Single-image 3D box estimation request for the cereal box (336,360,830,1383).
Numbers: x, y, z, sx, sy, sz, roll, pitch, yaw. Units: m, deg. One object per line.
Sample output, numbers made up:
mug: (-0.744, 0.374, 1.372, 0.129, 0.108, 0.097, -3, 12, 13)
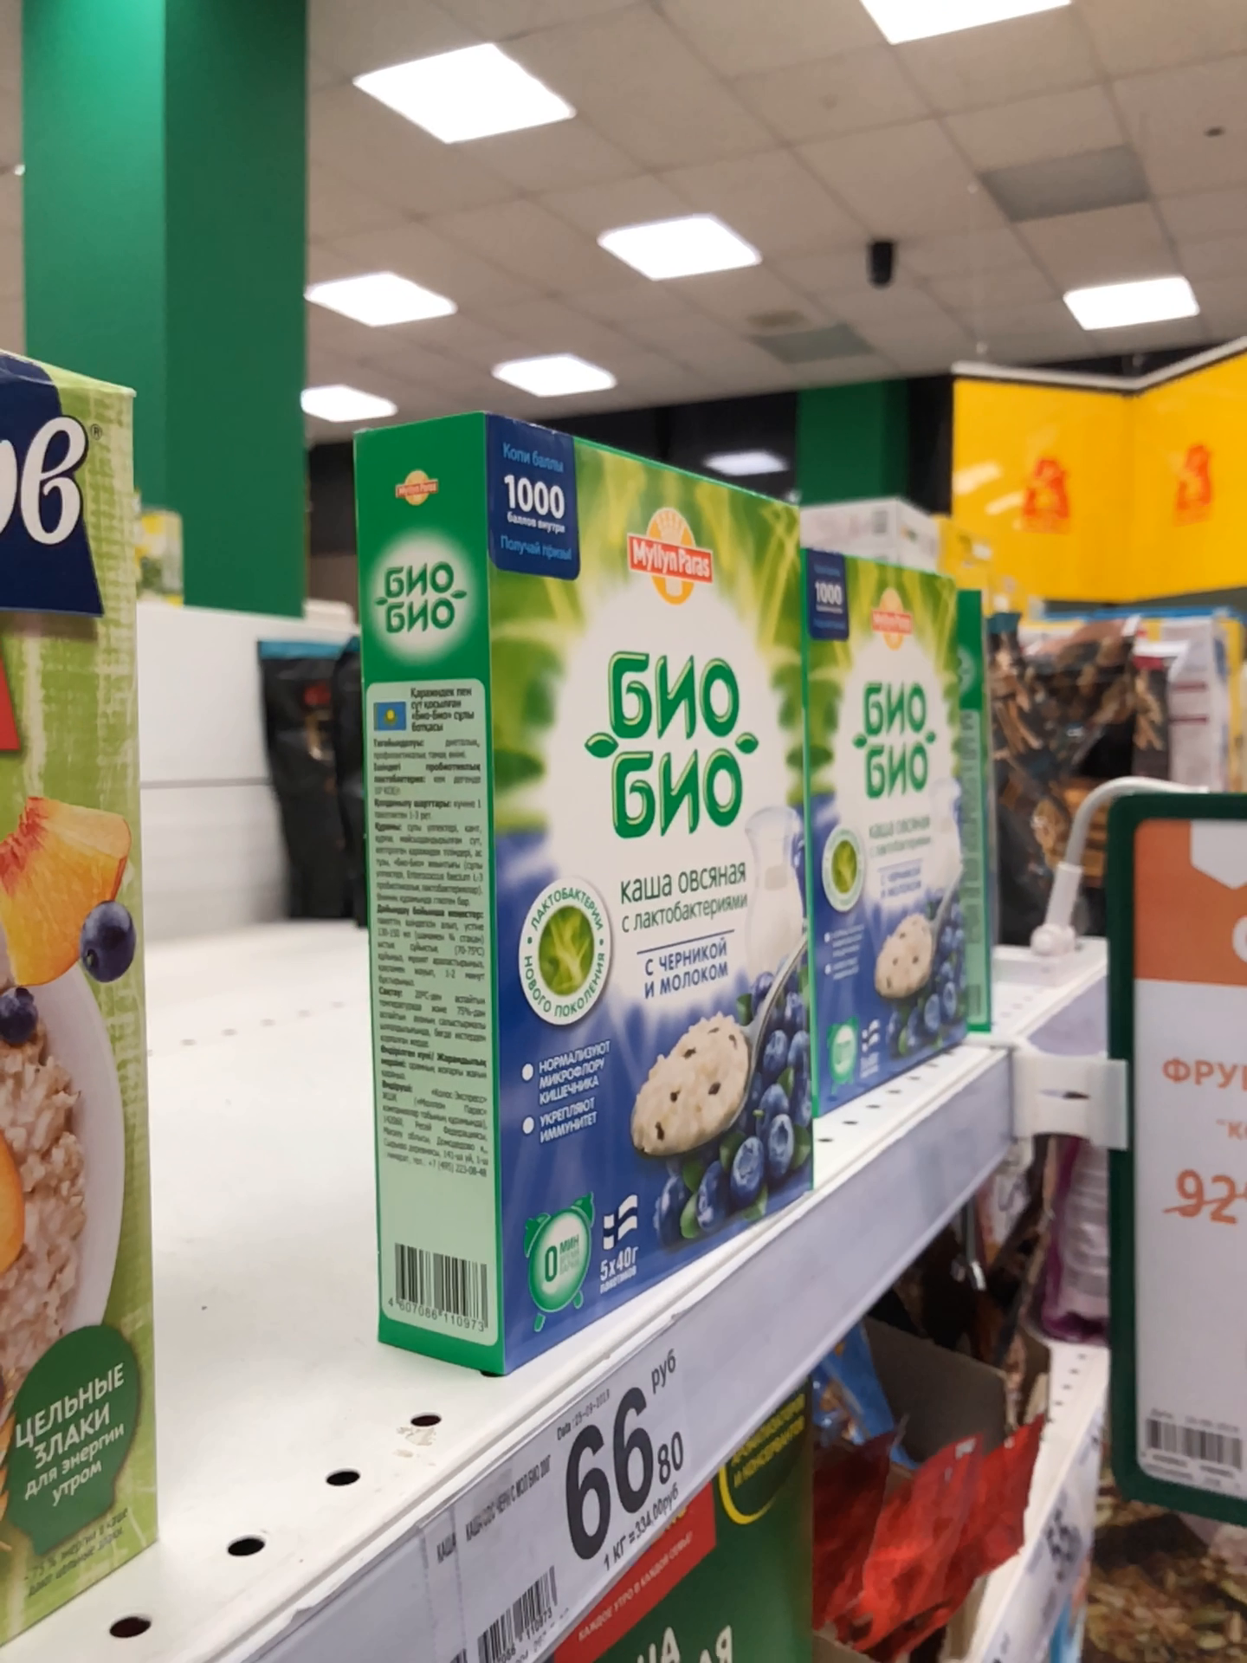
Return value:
cereal box: (0.000, 0.005, 0.362, 0.040, 0.210, 0.160, 0, 2, 33)
